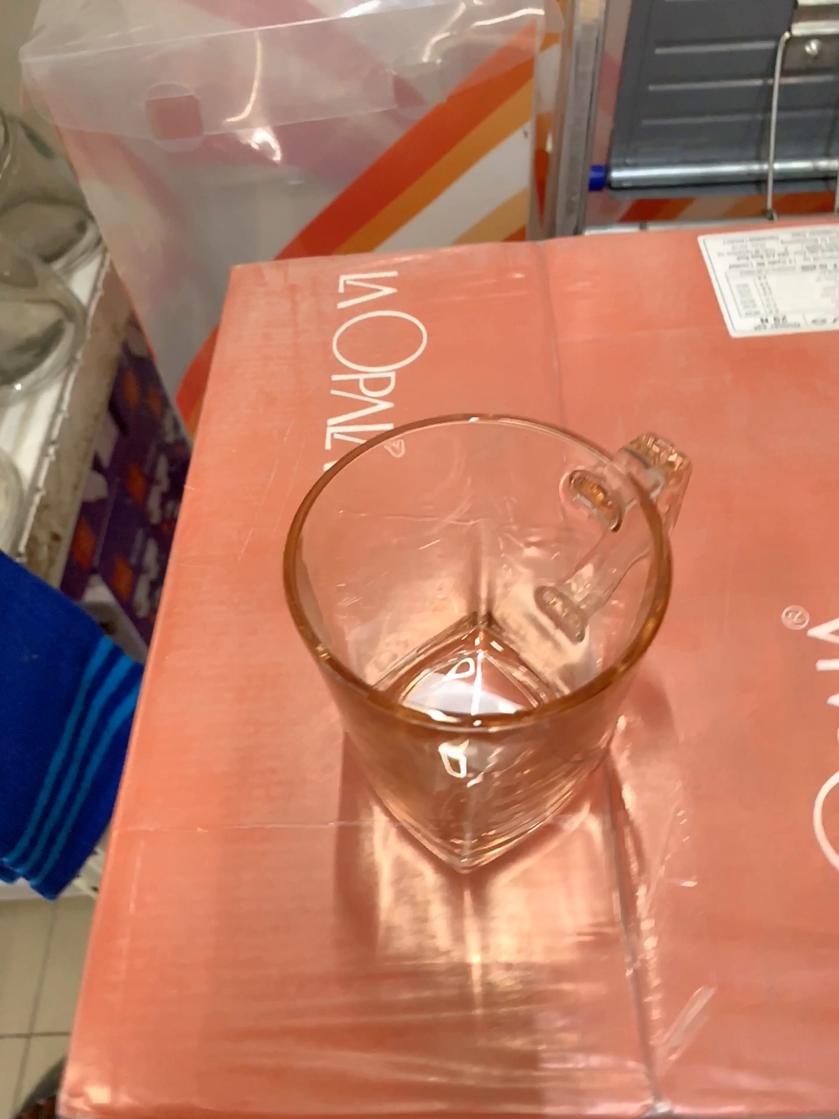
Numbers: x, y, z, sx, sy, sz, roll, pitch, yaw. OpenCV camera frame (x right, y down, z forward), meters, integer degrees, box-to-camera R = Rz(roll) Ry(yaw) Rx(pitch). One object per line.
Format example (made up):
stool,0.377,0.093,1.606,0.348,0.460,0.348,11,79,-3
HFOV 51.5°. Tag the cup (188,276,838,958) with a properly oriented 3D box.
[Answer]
cup,0.023,0.017,0.212,0.100,0.110,0.080,-35,58,-19
